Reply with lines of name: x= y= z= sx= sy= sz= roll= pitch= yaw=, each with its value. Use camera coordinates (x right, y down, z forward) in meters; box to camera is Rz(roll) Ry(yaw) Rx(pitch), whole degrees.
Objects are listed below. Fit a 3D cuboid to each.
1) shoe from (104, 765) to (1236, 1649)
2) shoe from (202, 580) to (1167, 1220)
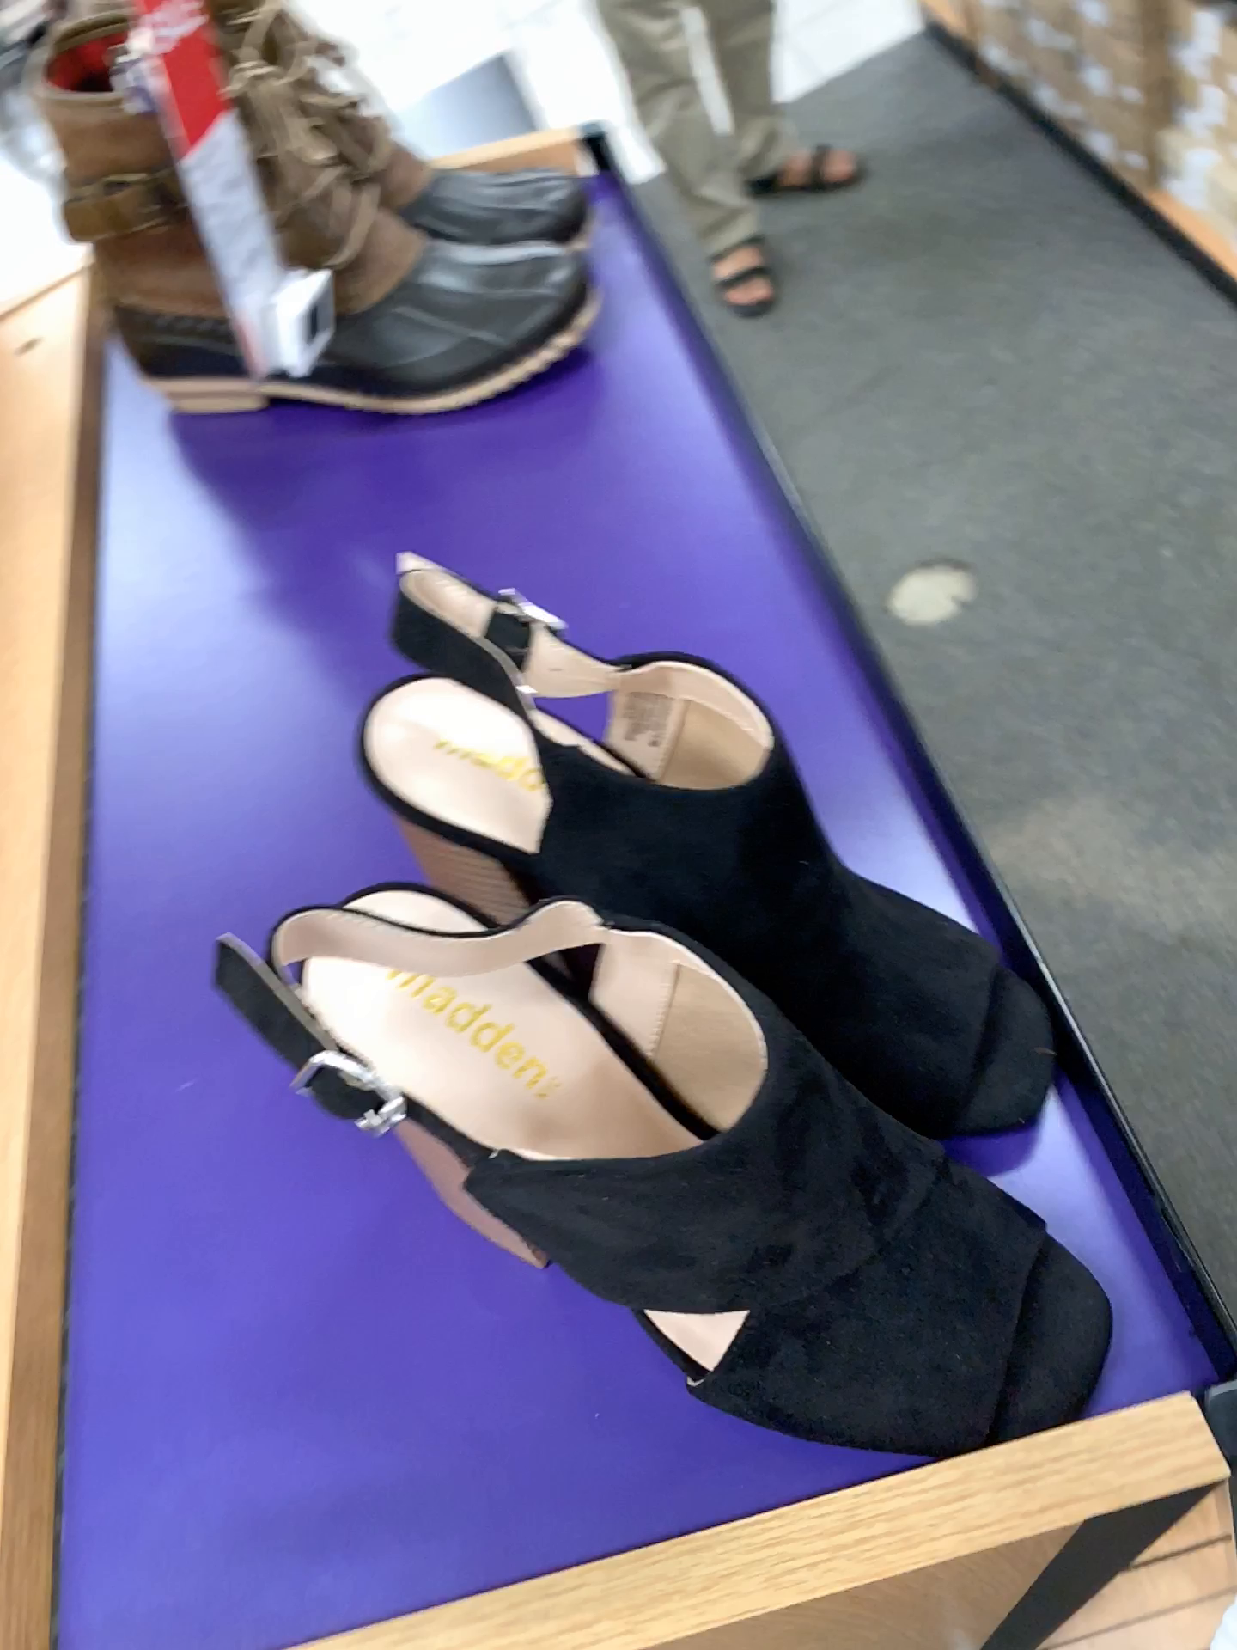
shoe: x=0.018 y=0.091 z=0.304 sx=0.220 sy=0.140 sz=0.080 roll=23 pitch=69 yaw=11
shoe: x=0.017 y=0.022 z=0.358 sx=0.220 sy=0.110 sz=0.080 roll=17 pitch=66 yaw=16
